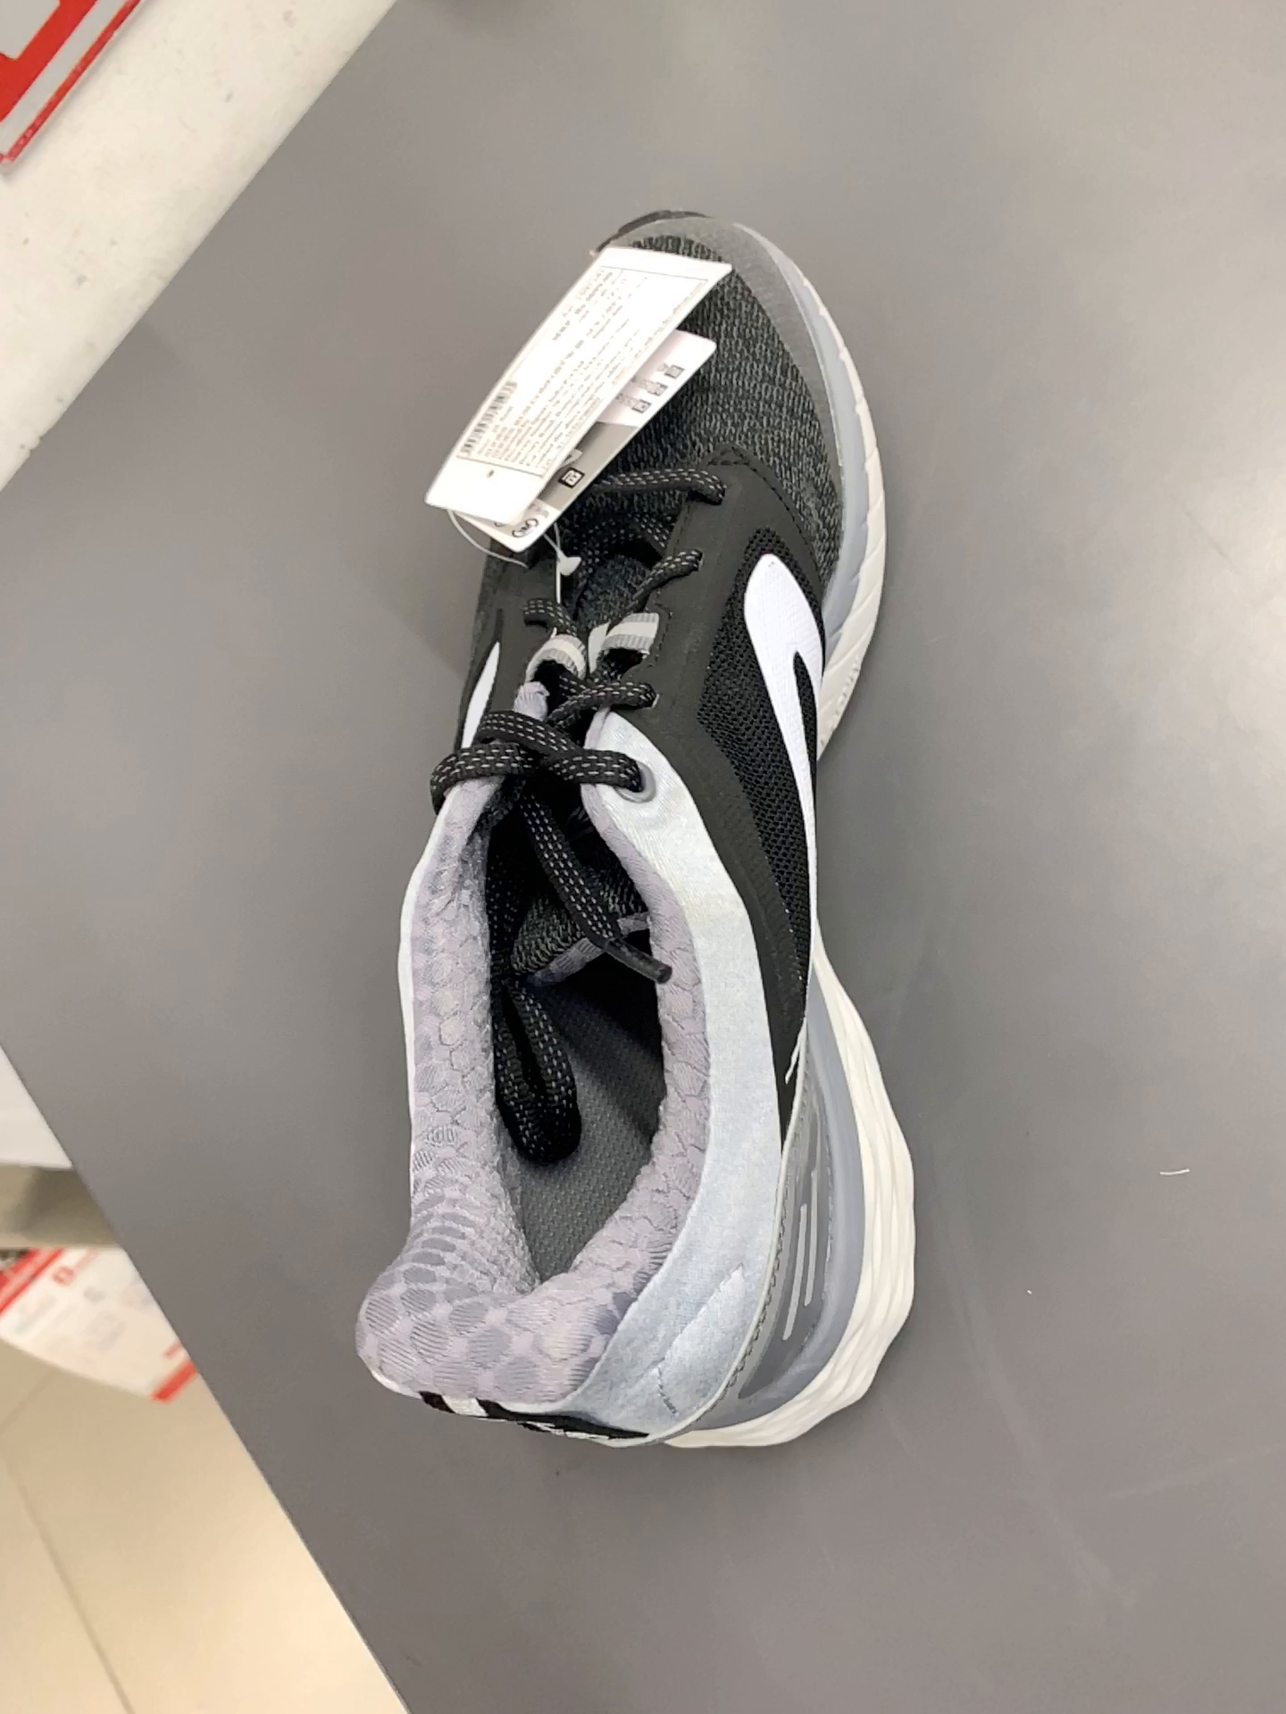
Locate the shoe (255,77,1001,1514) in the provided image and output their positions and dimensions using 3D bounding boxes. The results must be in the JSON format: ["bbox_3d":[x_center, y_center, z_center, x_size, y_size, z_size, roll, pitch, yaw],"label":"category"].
[{"bbox_3d":[-0.003,-0.009,0.266,0.100,0.090,0.240,-11,70,21],"label":"shoe"}]
